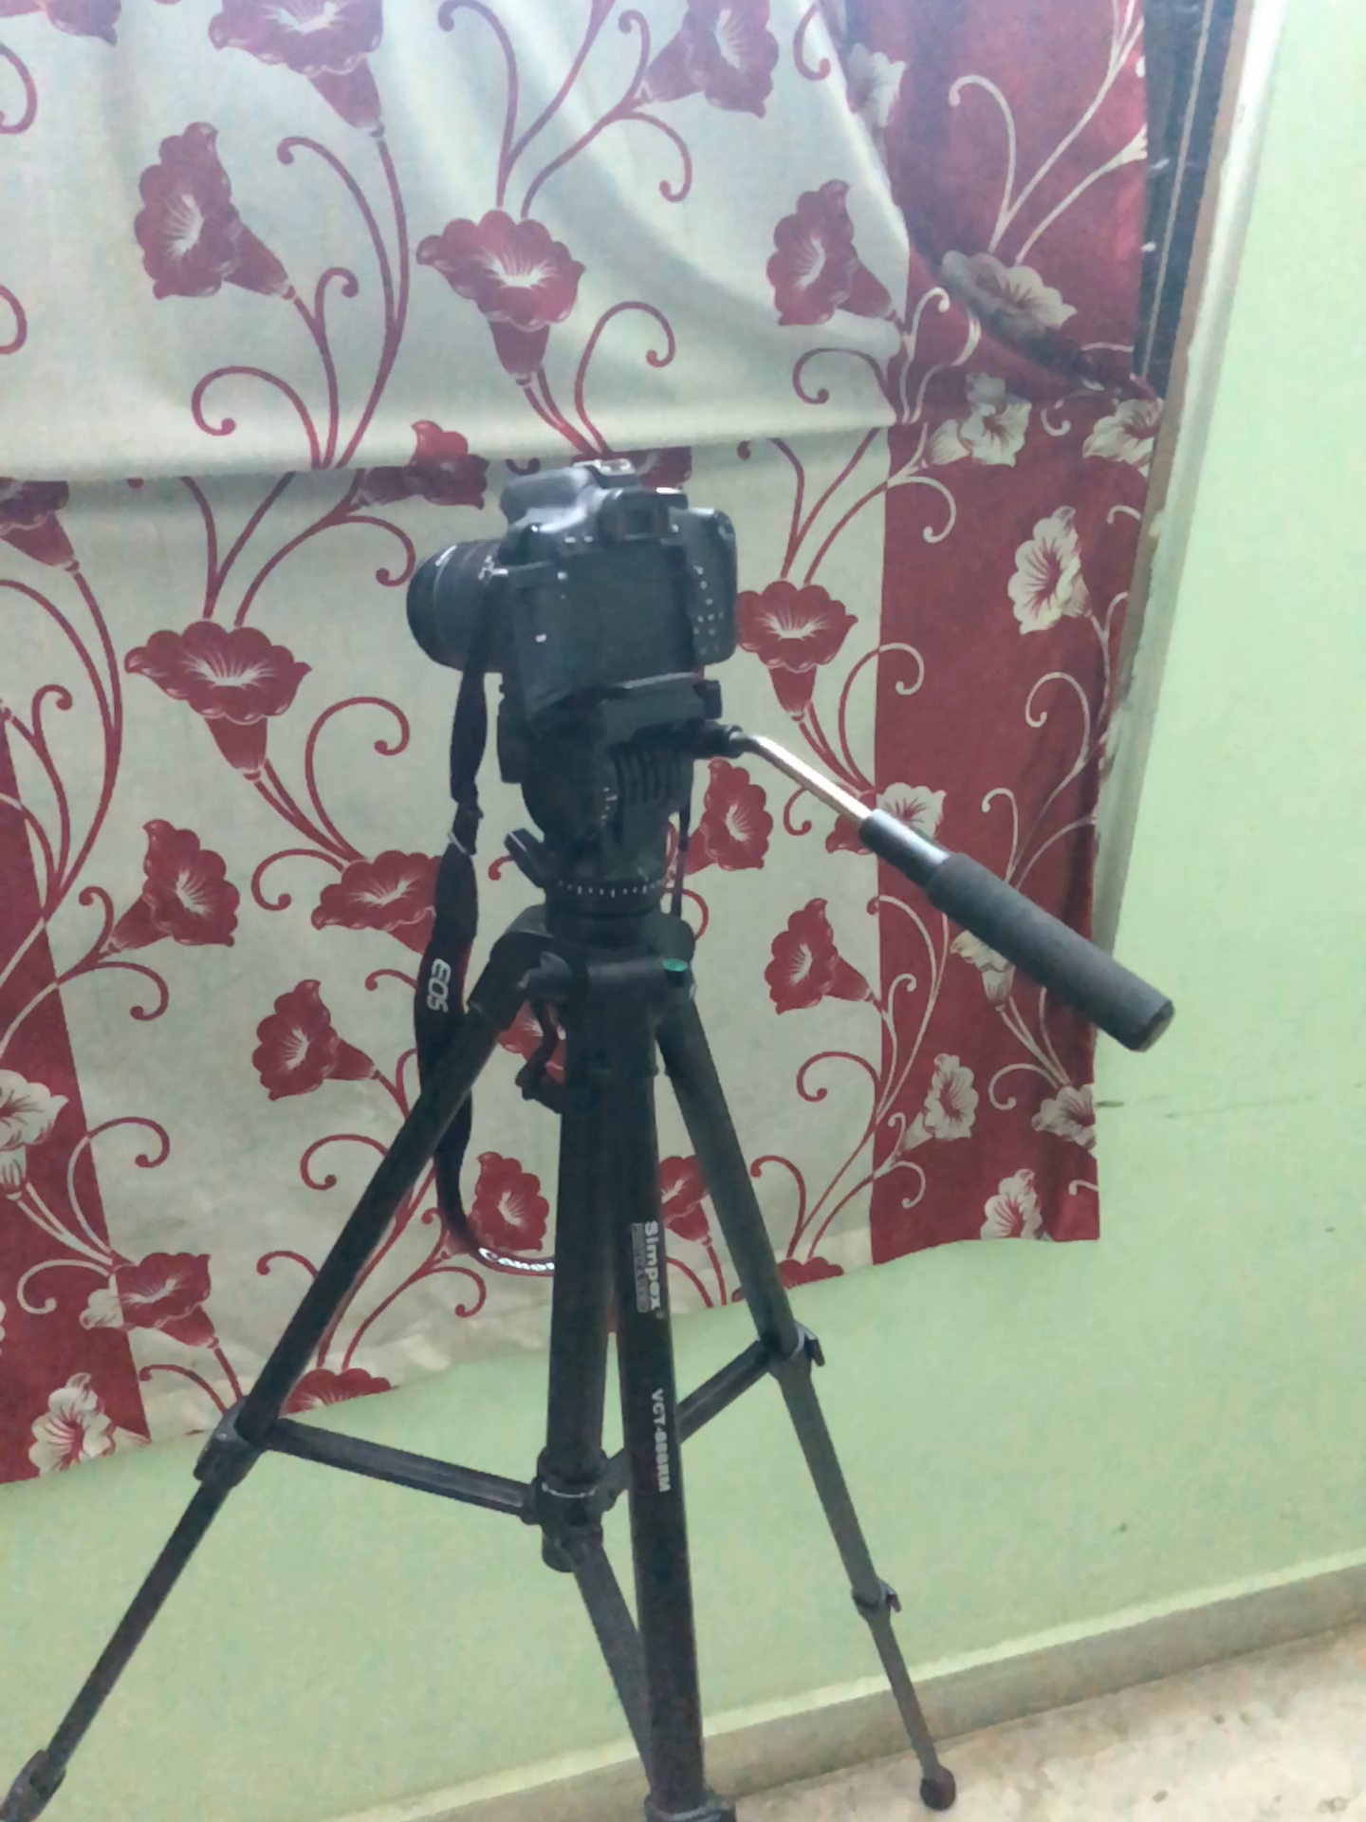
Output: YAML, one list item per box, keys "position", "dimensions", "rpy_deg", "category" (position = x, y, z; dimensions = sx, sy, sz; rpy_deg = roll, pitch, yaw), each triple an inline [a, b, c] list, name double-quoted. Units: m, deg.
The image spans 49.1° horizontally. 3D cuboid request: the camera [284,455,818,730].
- position: [-0.059, -0.158, 0.698]
  dimensions: [0.140, 0.087, 0.201]
  rpy_deg: [23, 29, 39]
  category: "camera"
